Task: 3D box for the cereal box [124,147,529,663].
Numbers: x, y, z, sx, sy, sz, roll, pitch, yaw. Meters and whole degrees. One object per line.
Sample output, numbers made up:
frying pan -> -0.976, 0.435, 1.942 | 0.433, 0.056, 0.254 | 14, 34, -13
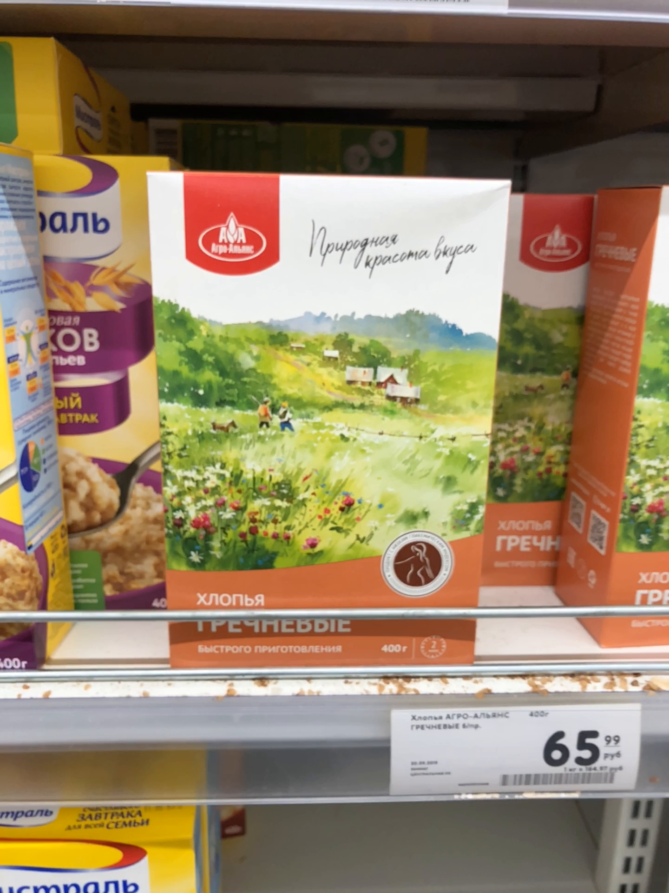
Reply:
cereal box -> -0.004, -0.014, 0.310 | 0.140, 0.199, 0.050 | 0, 16, -2
